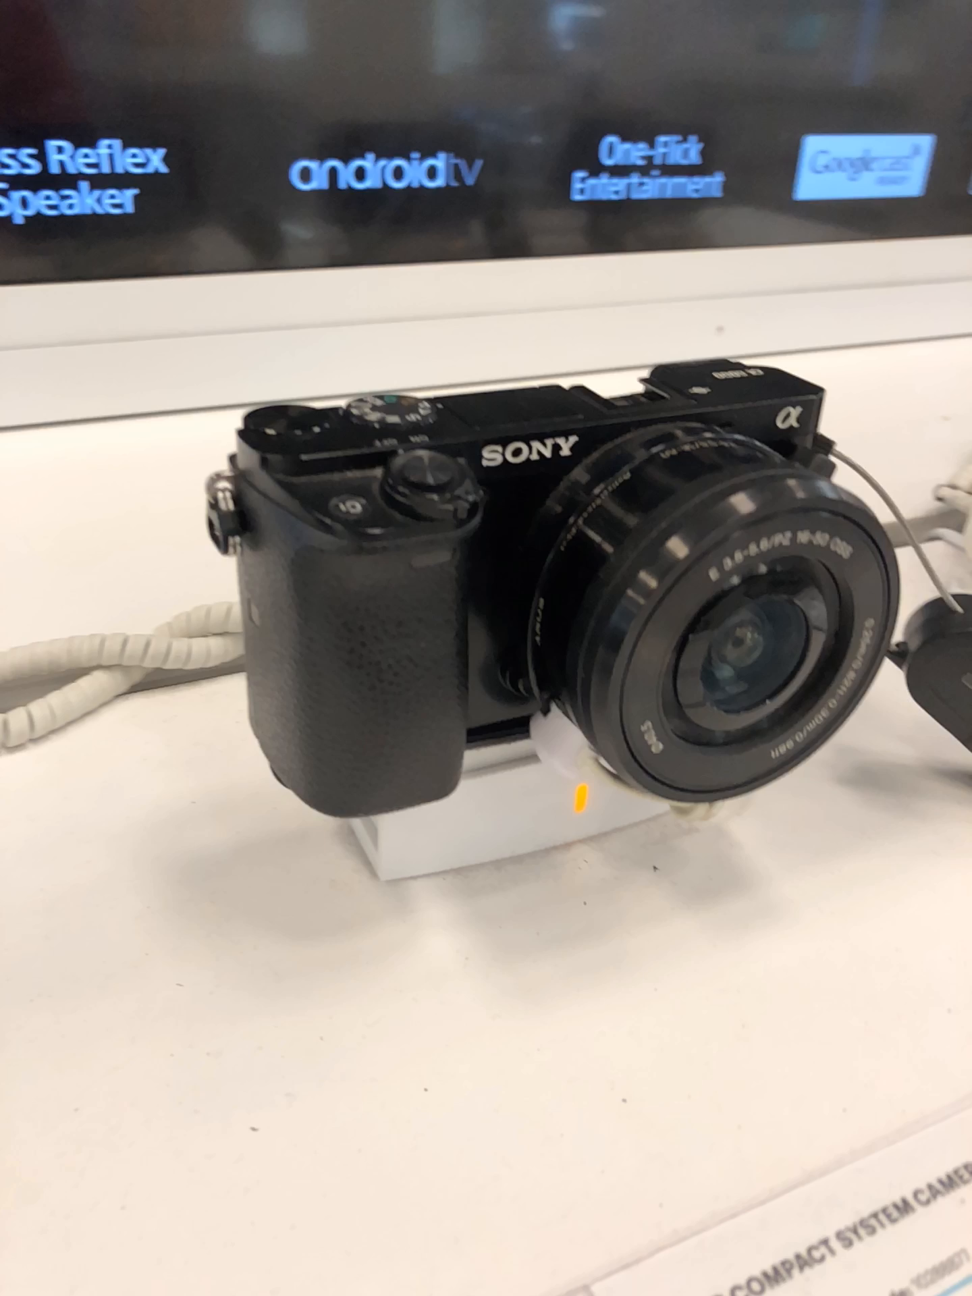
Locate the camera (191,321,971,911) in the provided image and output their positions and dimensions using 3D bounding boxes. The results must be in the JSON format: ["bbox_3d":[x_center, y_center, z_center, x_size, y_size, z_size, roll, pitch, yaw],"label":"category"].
[{"bbox_3d":[0.019,-0.016,0.214,0.130,0.070,0.070,-12,32,-24],"label":"camera"}]
